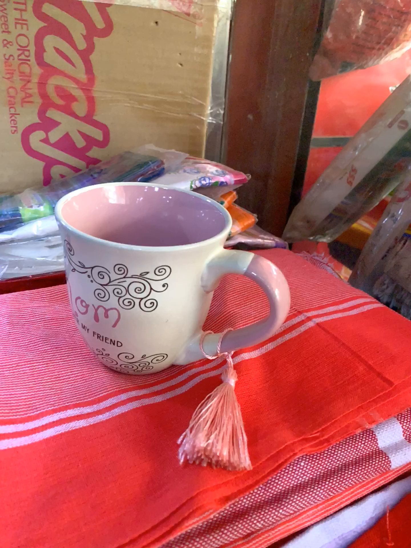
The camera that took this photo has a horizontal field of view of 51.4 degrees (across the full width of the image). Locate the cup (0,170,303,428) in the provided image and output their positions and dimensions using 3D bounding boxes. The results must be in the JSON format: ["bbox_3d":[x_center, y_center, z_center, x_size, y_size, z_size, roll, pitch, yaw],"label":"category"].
[{"bbox_3d":[-0.025,0.002,0.224,0.125,0.075,0.086,14,30,18],"label":"cup"}]
